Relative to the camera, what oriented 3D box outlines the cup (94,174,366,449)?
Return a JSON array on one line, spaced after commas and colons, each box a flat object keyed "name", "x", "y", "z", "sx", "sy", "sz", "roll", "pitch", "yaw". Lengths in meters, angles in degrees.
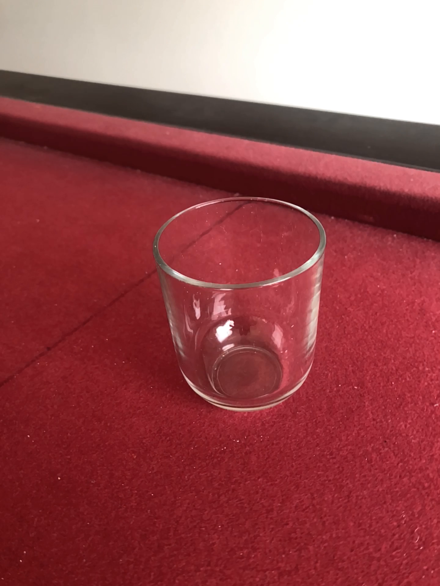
[{"name": "cup", "x": 0.006, "y": 0.002, "z": 0.224, "sx": 0.080, "sy": 0.070, "sz": 0.080, "roll": -3, "pitch": 36, "yaw": 3}]
